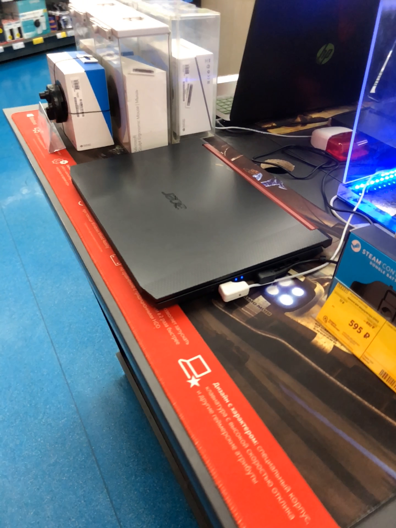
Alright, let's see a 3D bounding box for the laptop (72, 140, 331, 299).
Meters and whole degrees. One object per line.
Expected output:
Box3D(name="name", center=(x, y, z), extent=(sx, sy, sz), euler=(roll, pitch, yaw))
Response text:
Box3D(name="laptop", center=(-0.018, -0.095, 0.639), extent=(0.243, 0.005, 0.352), euler=(-18, 42, -21))
